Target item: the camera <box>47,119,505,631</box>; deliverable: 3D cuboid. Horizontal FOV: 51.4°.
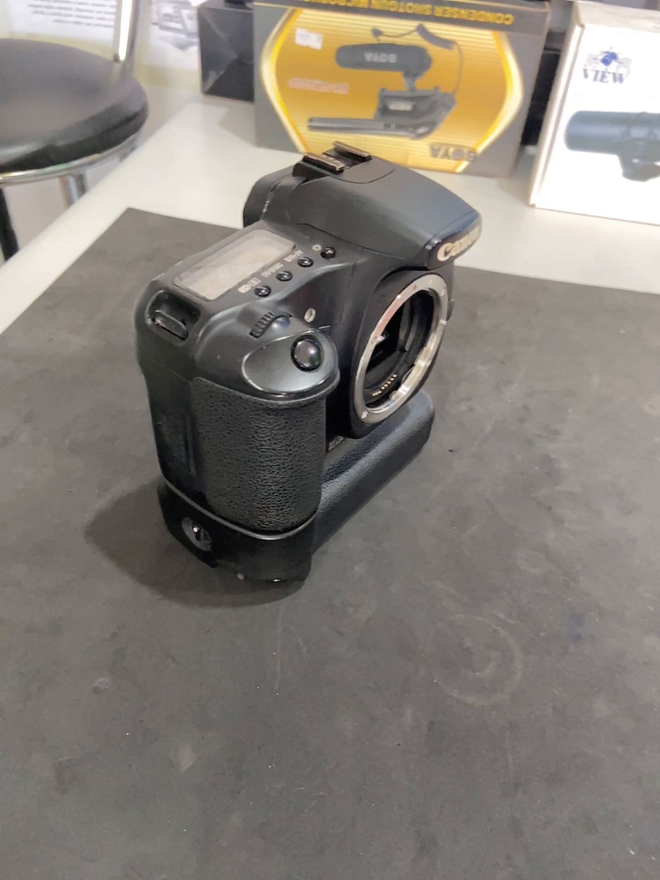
[{"bbox_3d":[-0.014,-0.031,0.277,0.080,0.139,0.141,30,48,26],"label":"camera"}]
